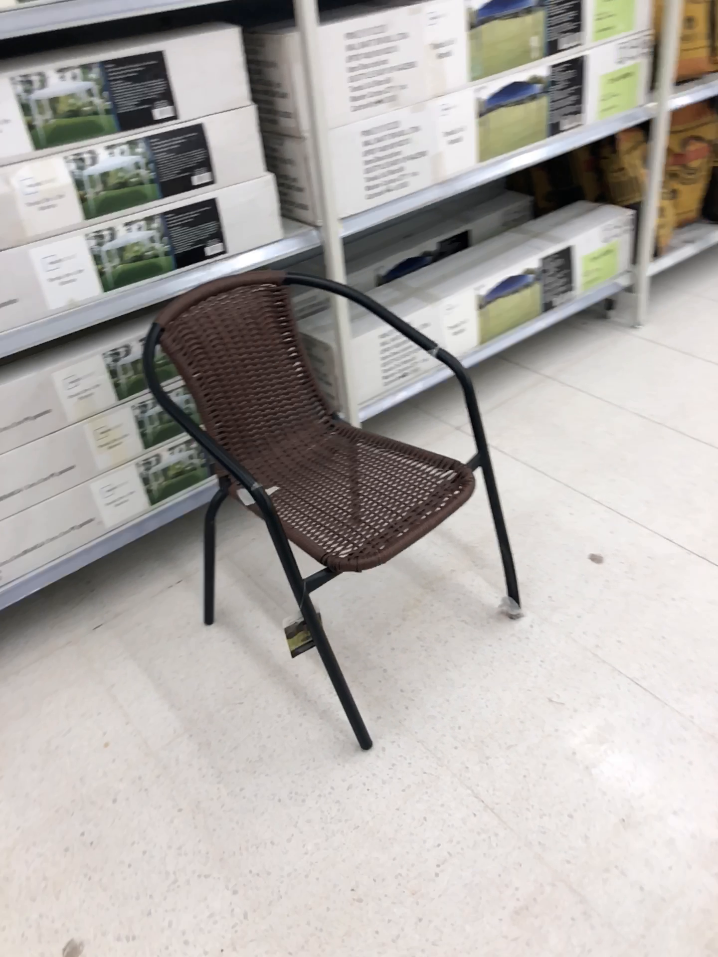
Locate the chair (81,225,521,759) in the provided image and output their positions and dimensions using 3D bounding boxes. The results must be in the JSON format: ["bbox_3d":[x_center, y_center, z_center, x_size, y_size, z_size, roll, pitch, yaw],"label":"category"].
[{"bbox_3d":[-0.063,-0.006,1.467,0.532,0.715,0.482,25,46,37],"label":"chair"}]
